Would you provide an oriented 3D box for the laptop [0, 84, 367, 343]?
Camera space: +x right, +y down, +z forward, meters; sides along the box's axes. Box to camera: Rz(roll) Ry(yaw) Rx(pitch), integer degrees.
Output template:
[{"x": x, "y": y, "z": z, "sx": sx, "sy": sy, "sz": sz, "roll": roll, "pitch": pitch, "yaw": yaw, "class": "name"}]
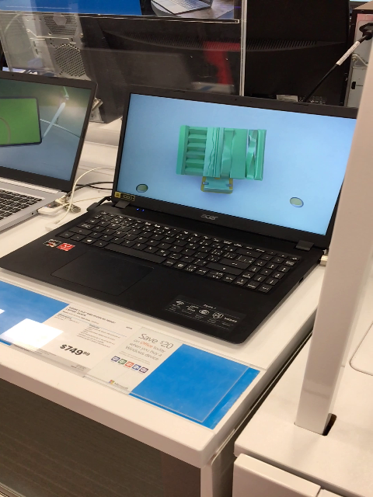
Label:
[{"x": -0.019, "y": -0.076, "z": 0.668, "sx": 0.372, "sy": 0.191, "sz": 0.304, "roll": 18, "pitch": 40, "yaw": 24, "class": "laptop"}]
